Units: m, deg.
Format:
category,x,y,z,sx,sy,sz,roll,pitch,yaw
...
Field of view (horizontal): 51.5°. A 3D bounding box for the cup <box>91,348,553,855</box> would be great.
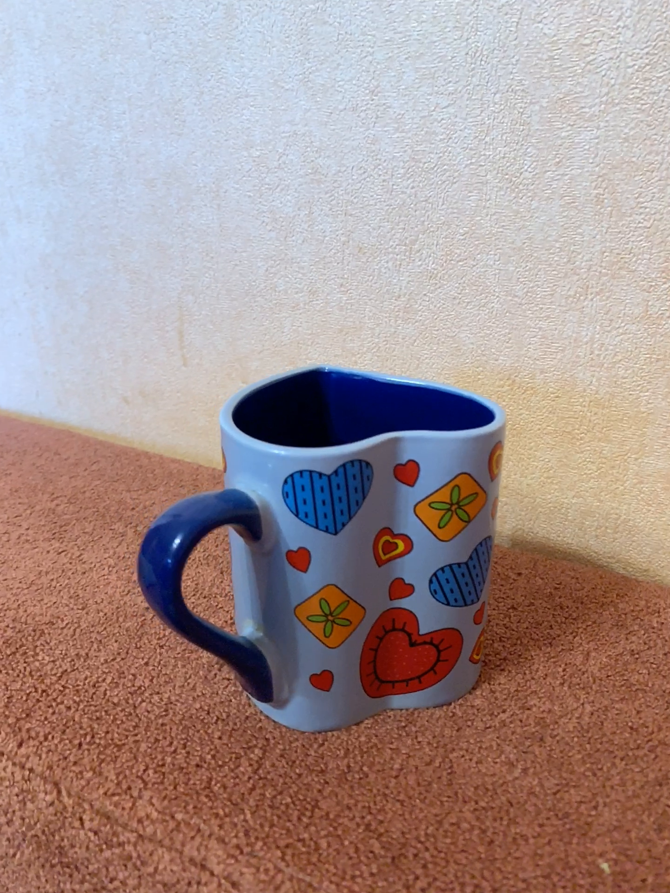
category,x,y,z,sx,sy,sz,roll,pitch,yaw
cup,0.002,0.031,0.209,0.088,0.090,0.098,14,27,32
